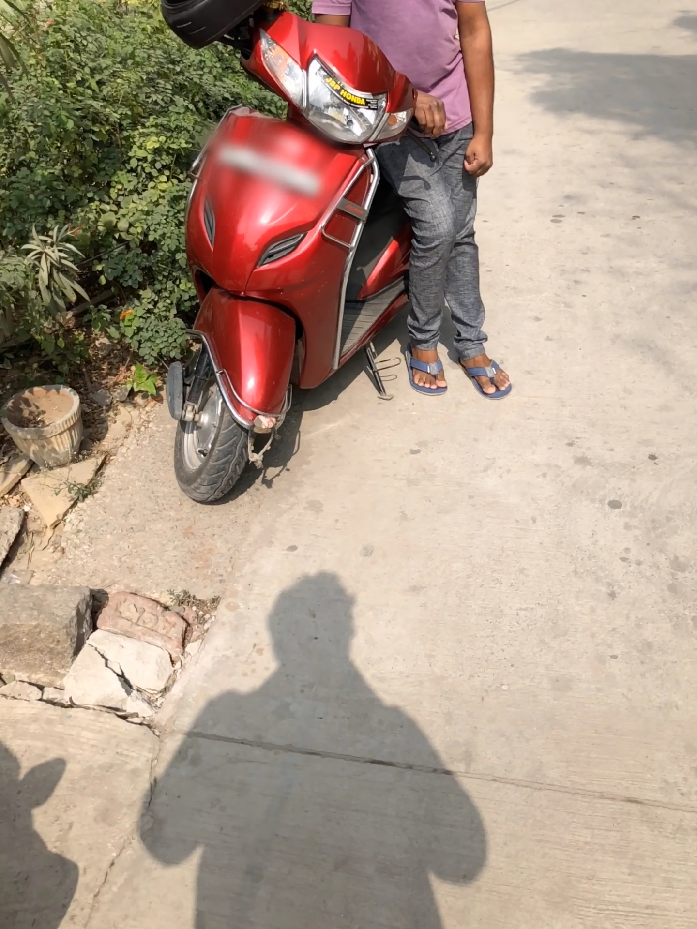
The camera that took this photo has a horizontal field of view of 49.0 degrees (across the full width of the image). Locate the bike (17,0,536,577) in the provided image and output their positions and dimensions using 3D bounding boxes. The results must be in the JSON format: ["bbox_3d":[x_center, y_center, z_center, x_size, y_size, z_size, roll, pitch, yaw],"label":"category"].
[{"bbox_3d":[0.022,-0.702,2.210,0.621,1.157,1.594,11,41,19],"label":"bike"}]
